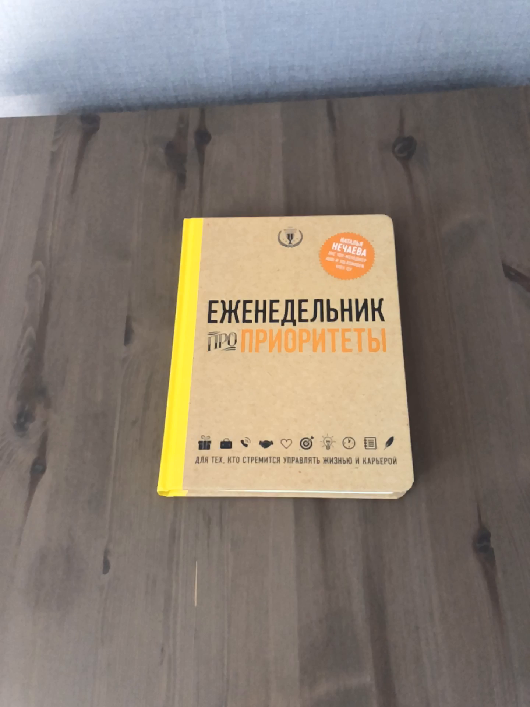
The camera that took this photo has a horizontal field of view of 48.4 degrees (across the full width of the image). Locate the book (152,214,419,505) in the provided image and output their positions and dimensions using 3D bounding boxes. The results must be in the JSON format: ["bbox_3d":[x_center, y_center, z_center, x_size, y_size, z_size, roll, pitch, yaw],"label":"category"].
[{"bbox_3d":[0.015,-0.002,0.458,0.180,0.032,0.229,-1,66,3],"label":"book"}]
